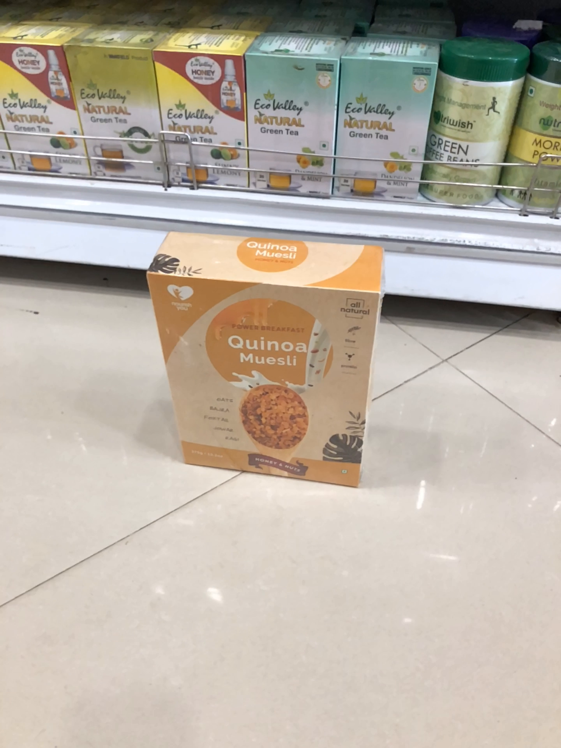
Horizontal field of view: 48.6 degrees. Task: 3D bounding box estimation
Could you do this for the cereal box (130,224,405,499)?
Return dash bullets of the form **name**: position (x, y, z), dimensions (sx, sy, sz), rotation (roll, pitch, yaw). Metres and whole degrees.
- **cereal box**: position (-0.004, -0.002, 0.472), dimensions (0.170, 0.199, 0.060), rotation (7, 44, 9)
